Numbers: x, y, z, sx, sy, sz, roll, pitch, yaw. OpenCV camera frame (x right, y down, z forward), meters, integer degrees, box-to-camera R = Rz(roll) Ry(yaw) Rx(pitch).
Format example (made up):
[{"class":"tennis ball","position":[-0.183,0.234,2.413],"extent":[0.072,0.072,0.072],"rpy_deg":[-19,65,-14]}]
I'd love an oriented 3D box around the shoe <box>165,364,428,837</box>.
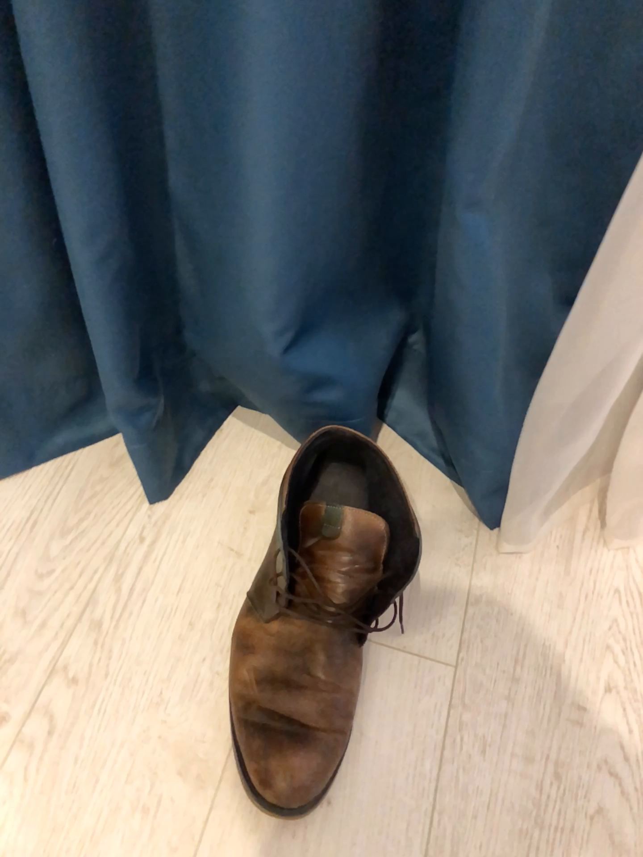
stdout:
[{"class":"shoe","position":[-0.006,0.126,0.578],"extent":[0.130,0.159,0.322],"rpy_deg":[11,51,4]}]
